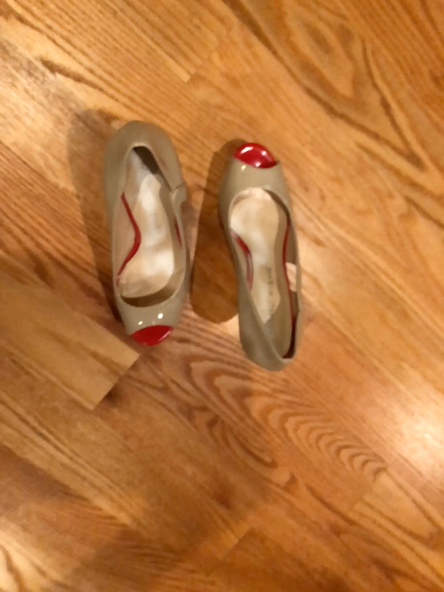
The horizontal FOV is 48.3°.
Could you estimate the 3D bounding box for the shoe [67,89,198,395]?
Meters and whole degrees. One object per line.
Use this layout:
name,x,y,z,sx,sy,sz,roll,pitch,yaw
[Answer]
shoe,-0.073,-0.046,0.419,0.085,0.130,0.215,-2,101,-10

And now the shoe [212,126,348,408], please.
shoe,0.047,-0.033,0.465,0.080,0.150,0.220,-4,102,-10
